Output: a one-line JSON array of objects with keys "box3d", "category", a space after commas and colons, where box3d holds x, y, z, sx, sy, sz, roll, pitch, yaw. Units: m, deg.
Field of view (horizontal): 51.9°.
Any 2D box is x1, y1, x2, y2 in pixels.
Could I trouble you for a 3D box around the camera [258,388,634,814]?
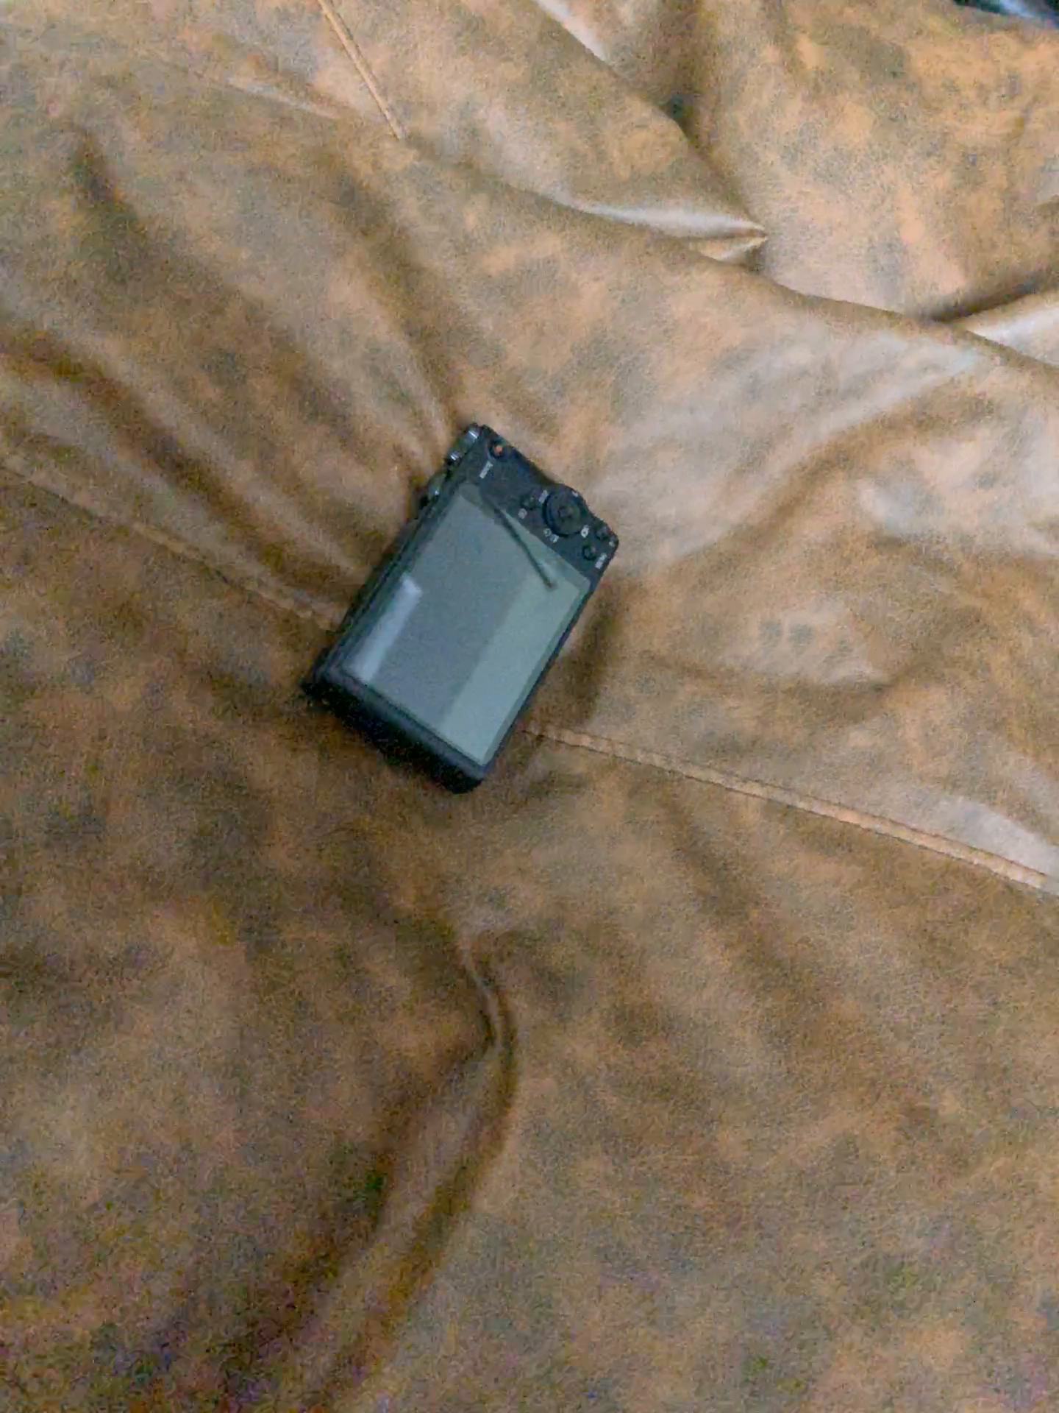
[{"box3d": [-0.021, -0.029, 0.304, 0.060, 0.024, 0.100, 33, 69, -11], "category": "camera"}]
